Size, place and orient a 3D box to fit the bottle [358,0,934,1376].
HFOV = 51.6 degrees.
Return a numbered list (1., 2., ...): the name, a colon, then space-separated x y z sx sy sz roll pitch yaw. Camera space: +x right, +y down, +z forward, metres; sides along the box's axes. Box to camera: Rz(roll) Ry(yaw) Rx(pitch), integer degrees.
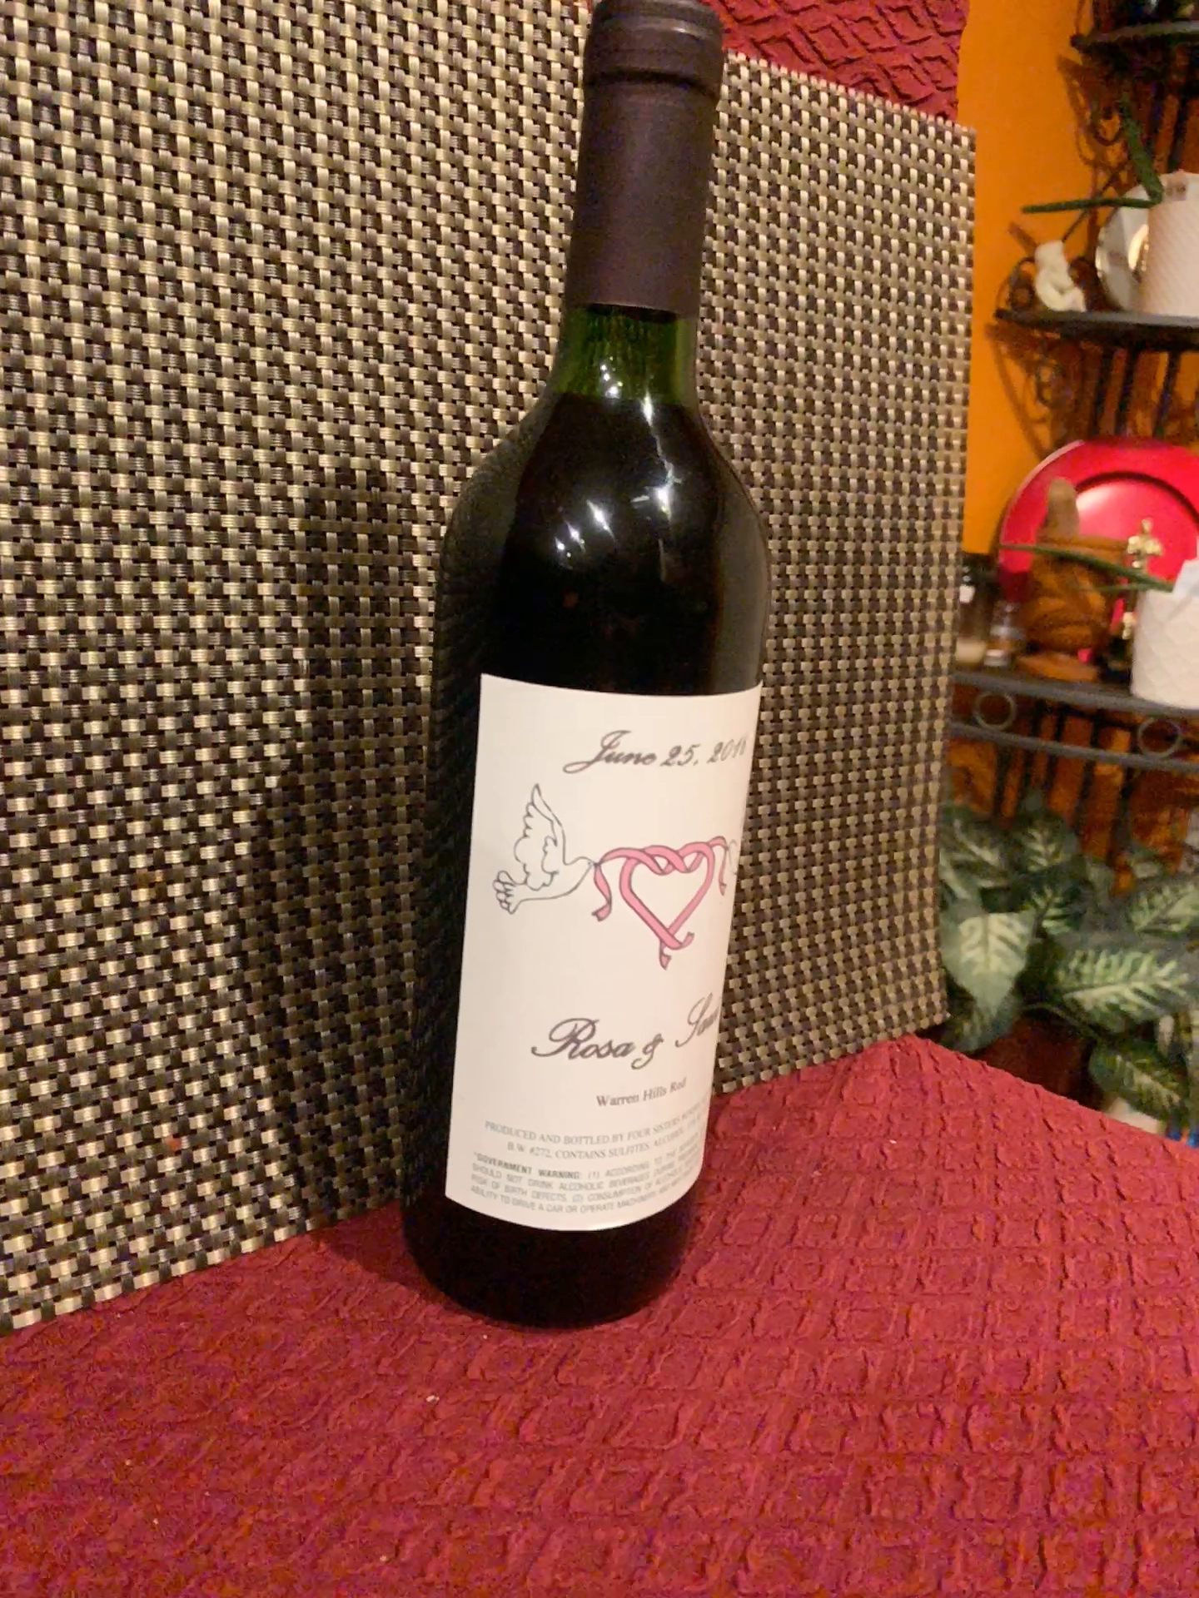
1. bottle: 0.001 -0.022 0.282 0.080 0.289 0.060 -5 19 -34
